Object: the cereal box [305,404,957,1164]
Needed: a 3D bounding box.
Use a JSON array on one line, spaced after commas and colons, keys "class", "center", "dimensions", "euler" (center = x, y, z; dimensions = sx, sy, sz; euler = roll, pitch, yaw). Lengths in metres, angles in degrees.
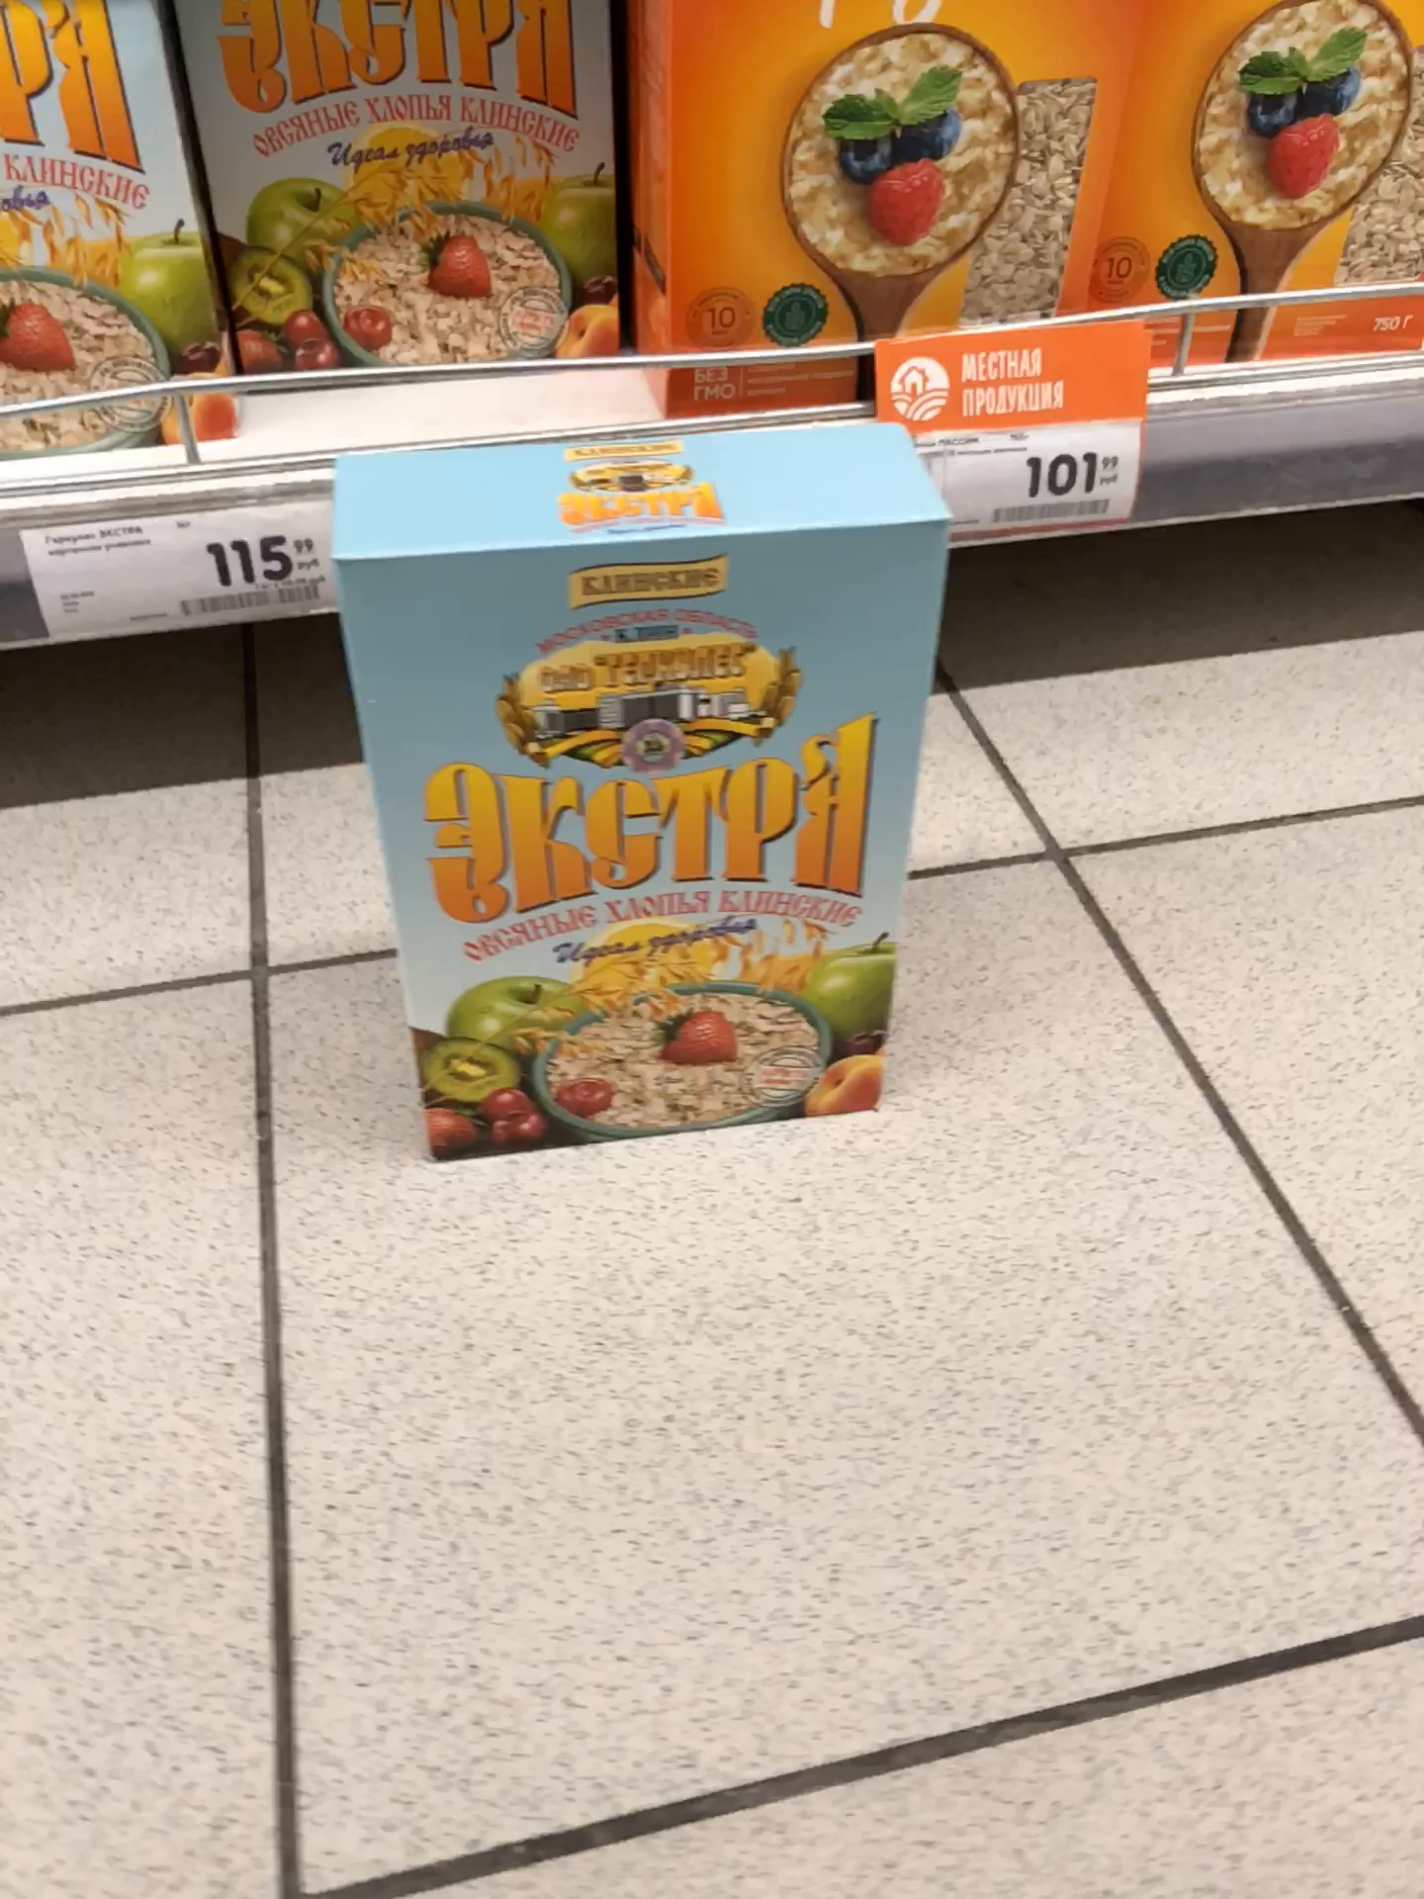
[{"class": "cereal box", "center": [-0.022, -0.038, 0.452], "dimensions": [0.150, 0.209, 0.060], "euler": [-6, 42, -7]}]
